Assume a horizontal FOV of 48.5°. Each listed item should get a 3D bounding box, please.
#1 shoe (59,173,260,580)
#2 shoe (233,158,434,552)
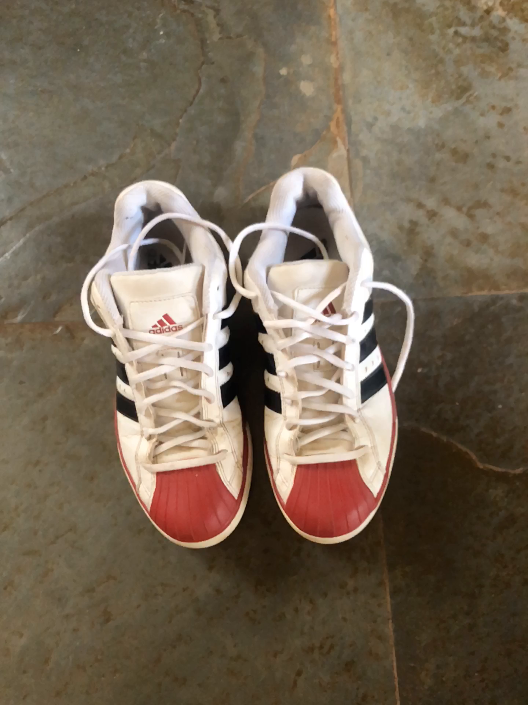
[{"bbox_3d":[-0.077,0.021,0.462,0.110,0.130,0.270,-8,75,1],"label":"shoe"},{"bbox_3d":[0.044,0.004,0.456,0.110,0.110,0.270,-5,75,1],"label":"shoe"}]
